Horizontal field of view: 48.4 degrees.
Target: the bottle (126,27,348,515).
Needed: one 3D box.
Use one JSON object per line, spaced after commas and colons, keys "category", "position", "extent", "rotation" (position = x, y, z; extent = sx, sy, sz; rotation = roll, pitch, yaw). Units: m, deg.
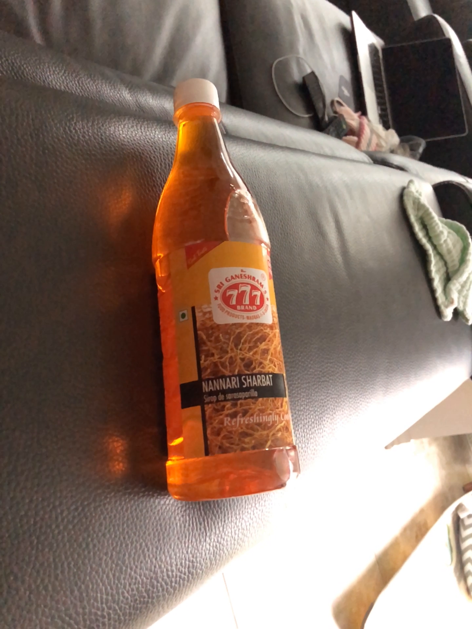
{"category": "bottle", "position": [-0.009, -0.029, 0.331], "extent": [0.080, 0.070, 0.280], "rotation": [3, 71, -33]}
